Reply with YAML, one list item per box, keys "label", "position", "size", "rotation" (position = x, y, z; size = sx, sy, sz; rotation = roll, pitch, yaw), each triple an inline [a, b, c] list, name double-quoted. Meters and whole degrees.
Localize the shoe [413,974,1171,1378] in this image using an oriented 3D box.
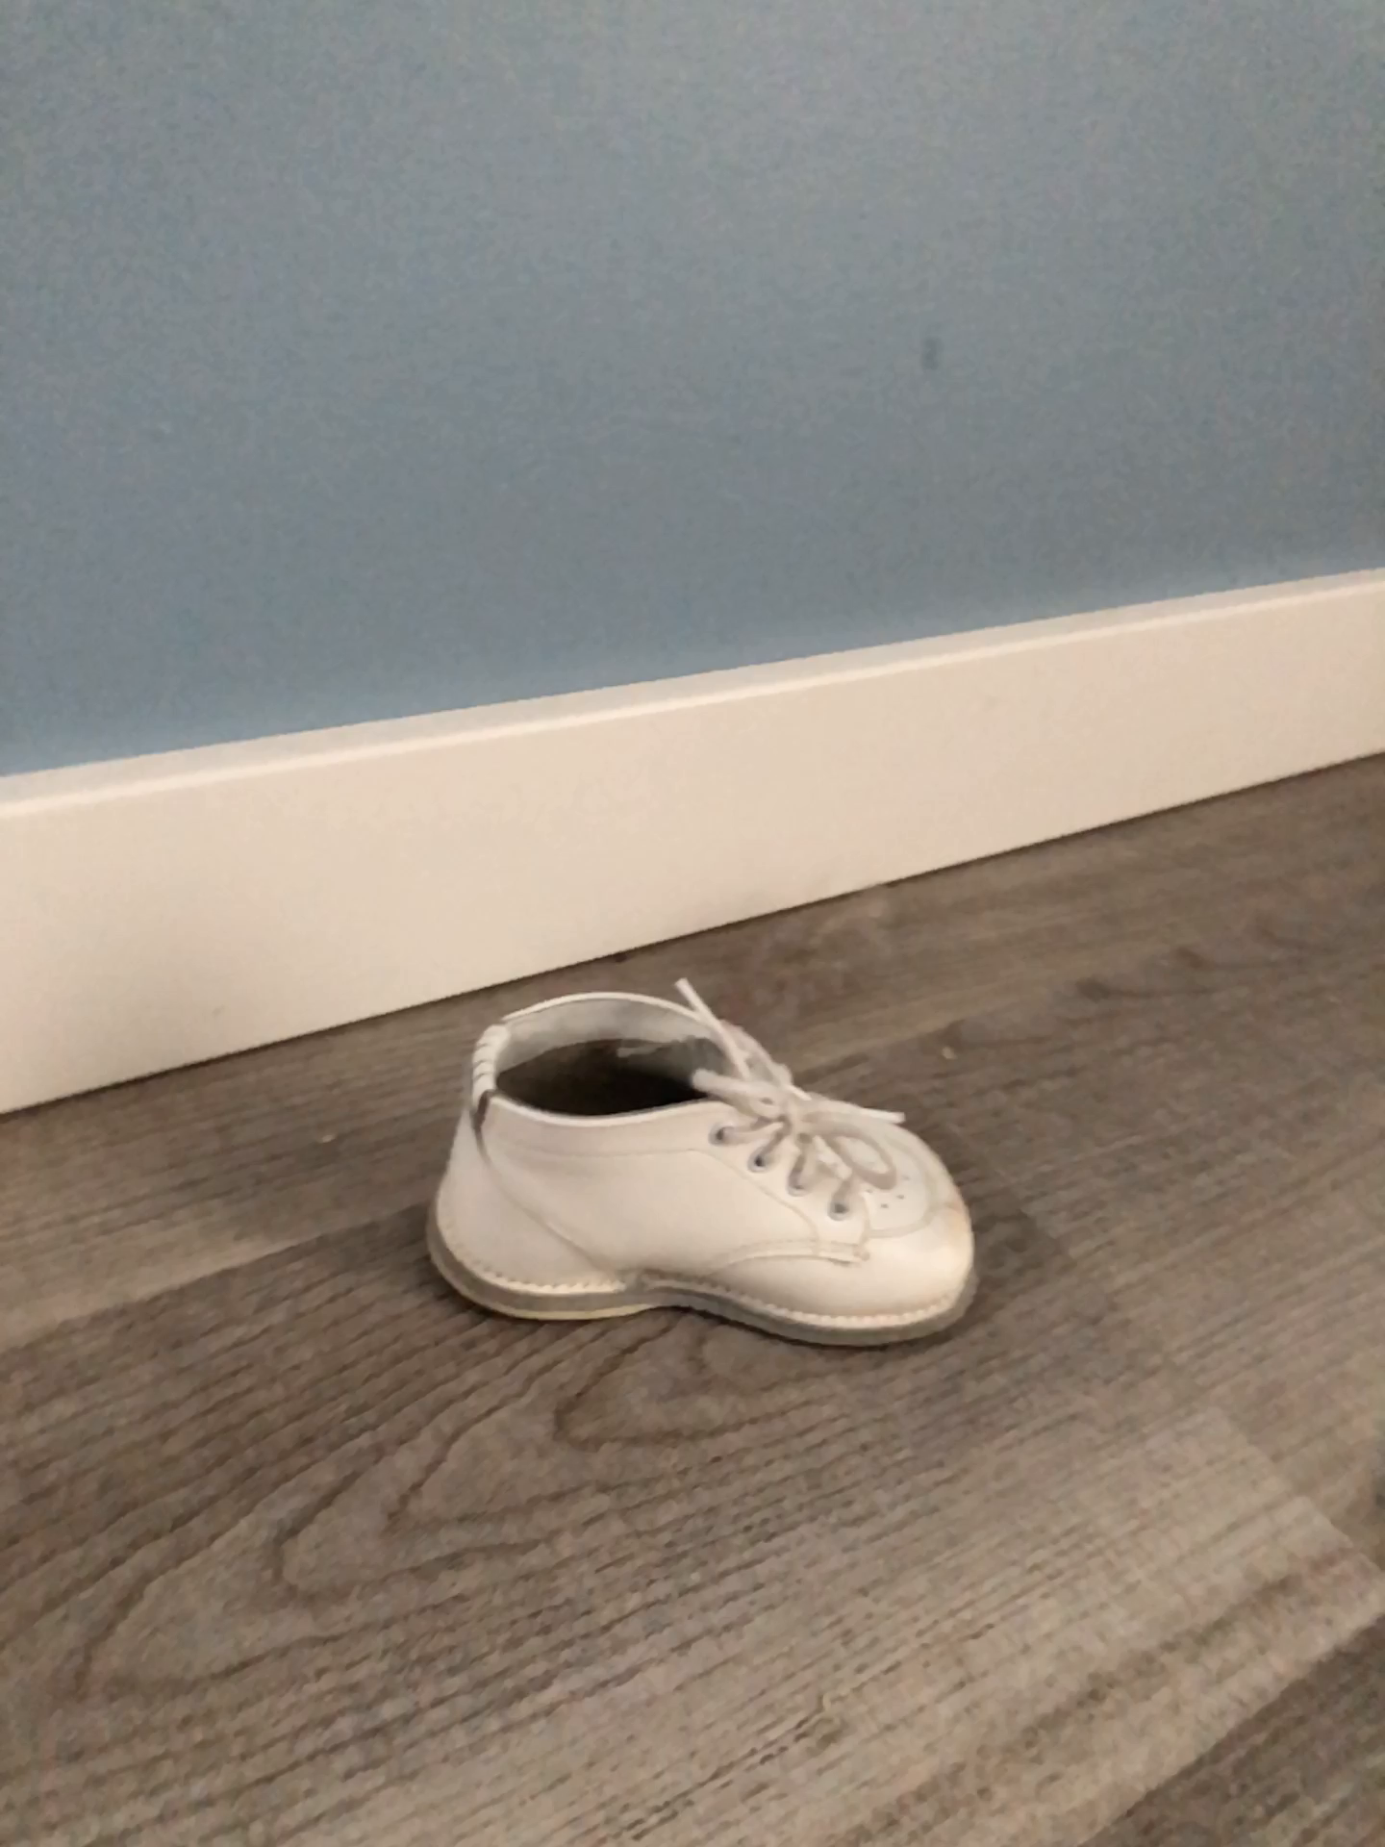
- label: "shoe"
  position: [0.016, 0.057, 0.343]
  size: [0.150, 0.060, 0.060]
  rotation: [3, 37, -11]
